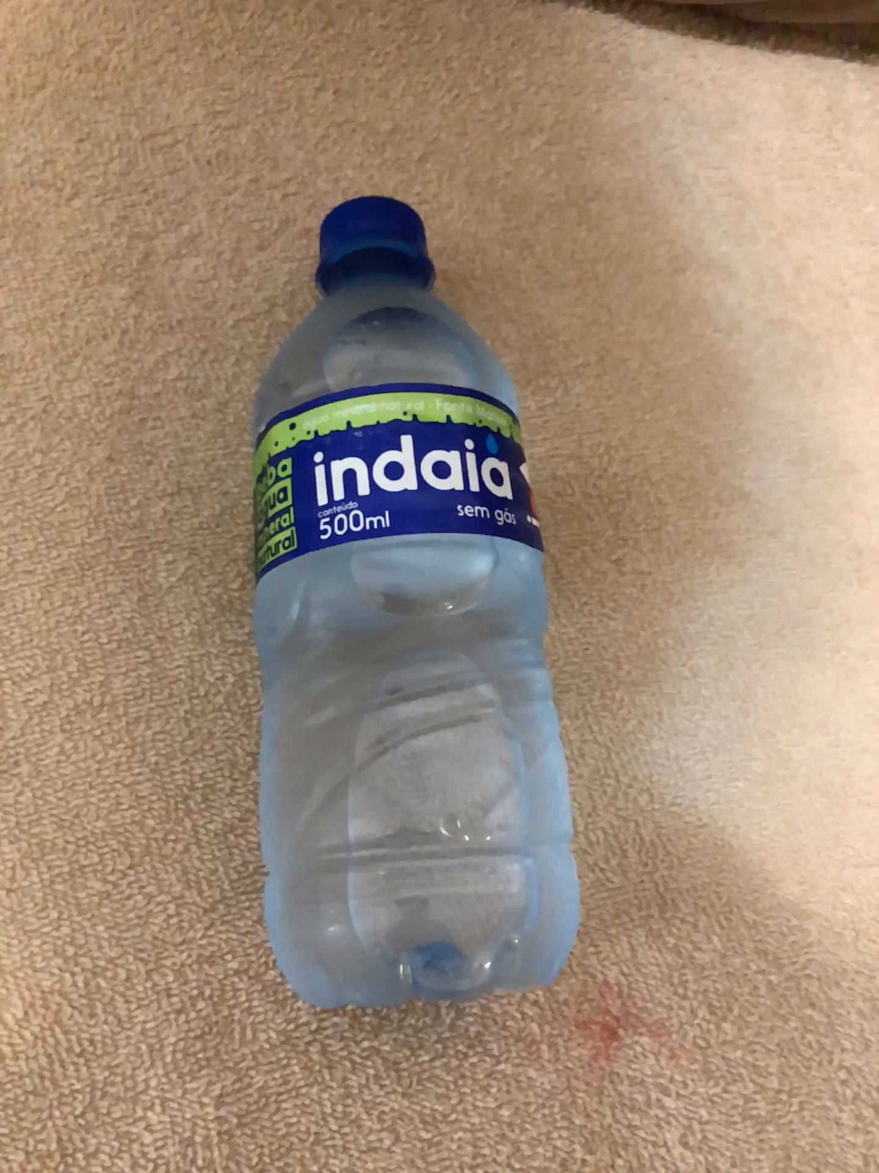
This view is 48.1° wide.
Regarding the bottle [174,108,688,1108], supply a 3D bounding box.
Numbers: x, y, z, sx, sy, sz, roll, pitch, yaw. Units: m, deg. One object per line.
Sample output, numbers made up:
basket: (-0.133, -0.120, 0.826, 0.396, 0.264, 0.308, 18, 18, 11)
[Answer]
bottle: (-0.013, -0.008, 0.225, 0.080, 0.050, 0.210, -4, 70, -11)
